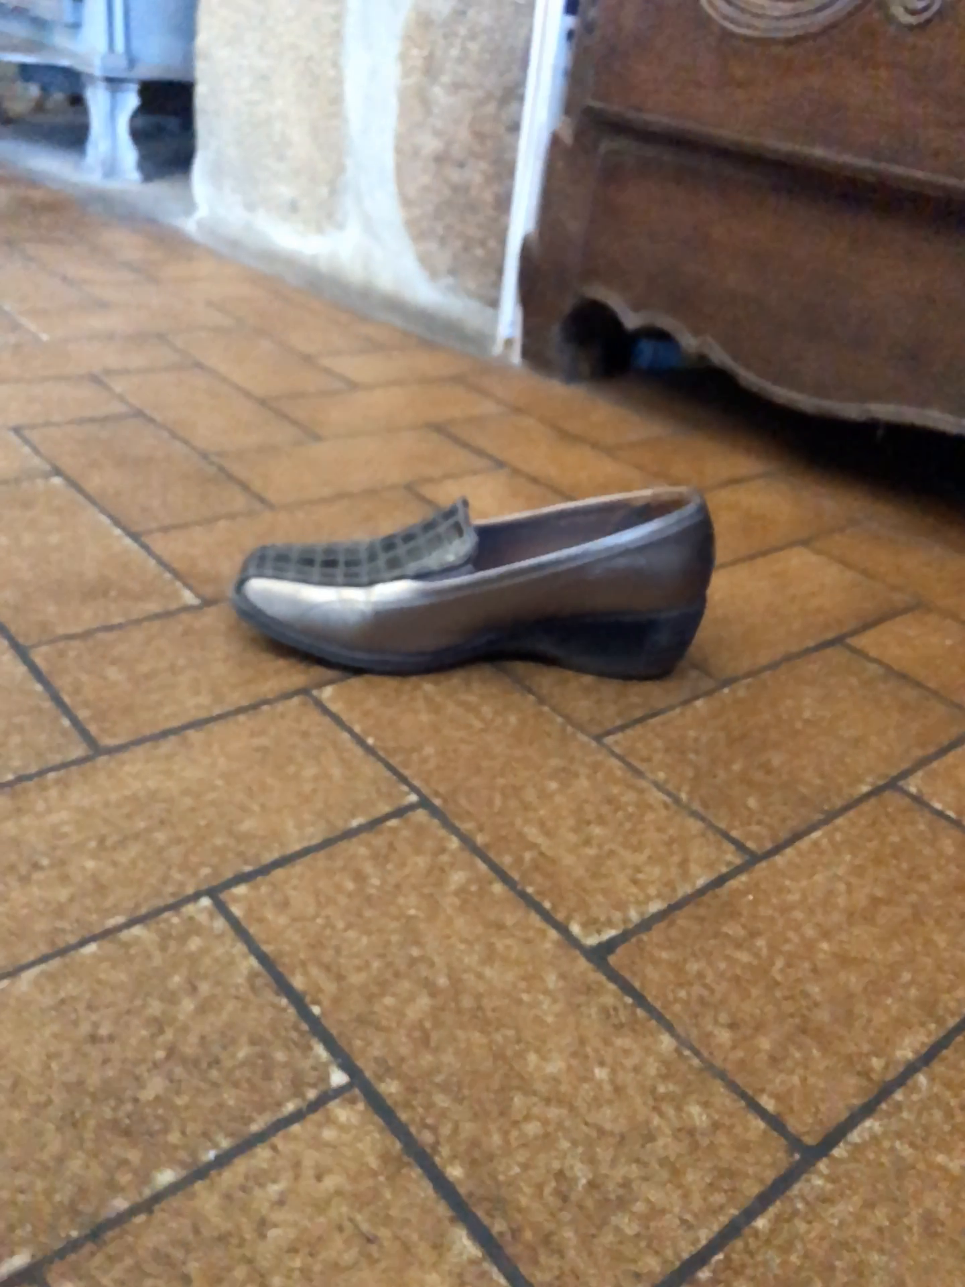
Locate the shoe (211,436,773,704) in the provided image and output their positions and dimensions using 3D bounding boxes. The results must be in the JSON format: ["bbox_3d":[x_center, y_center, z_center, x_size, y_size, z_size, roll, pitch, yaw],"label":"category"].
[{"bbox_3d":[0.000,-0.038,0.553,0.260,0.089,0.090,3,30,-8],"label":"shoe"}]
